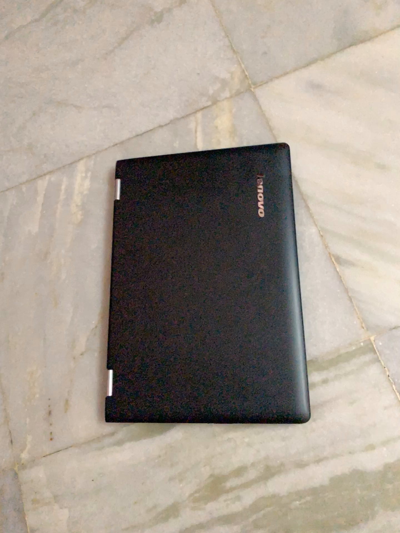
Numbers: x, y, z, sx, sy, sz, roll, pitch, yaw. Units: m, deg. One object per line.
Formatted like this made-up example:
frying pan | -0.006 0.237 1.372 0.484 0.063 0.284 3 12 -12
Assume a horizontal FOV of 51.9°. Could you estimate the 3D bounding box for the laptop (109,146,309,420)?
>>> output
laptop | 0.004 0.012 0.496 0.224 0.001 0.325 -3 75 9
